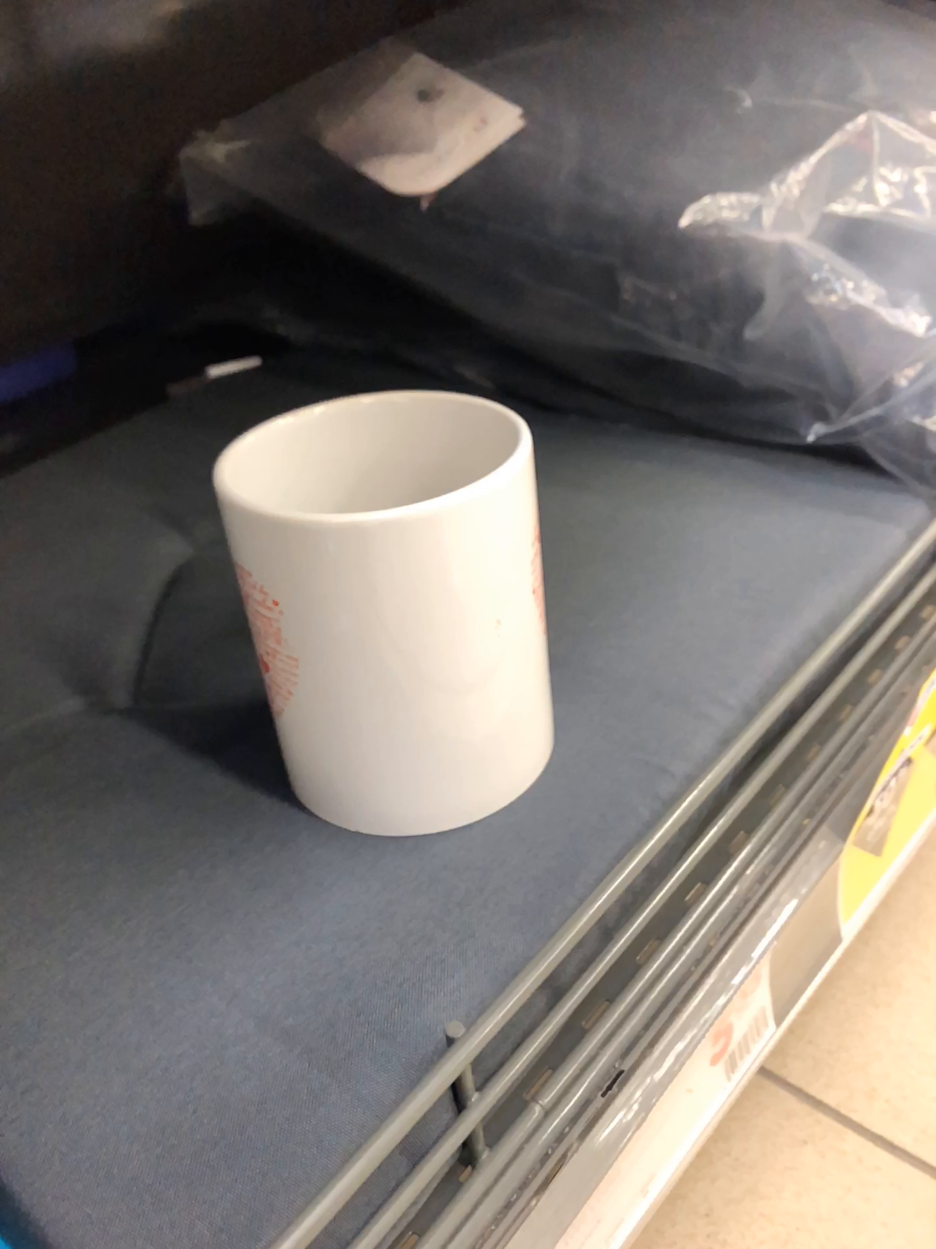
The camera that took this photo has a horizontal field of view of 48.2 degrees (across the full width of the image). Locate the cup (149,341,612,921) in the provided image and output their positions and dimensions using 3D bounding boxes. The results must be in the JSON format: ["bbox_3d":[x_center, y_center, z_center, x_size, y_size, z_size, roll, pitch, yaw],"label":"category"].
[{"bbox_3d":[-0.028,-0.007,0.301,0.090,0.099,0.121,-16,34,-13],"label":"cup"}]
